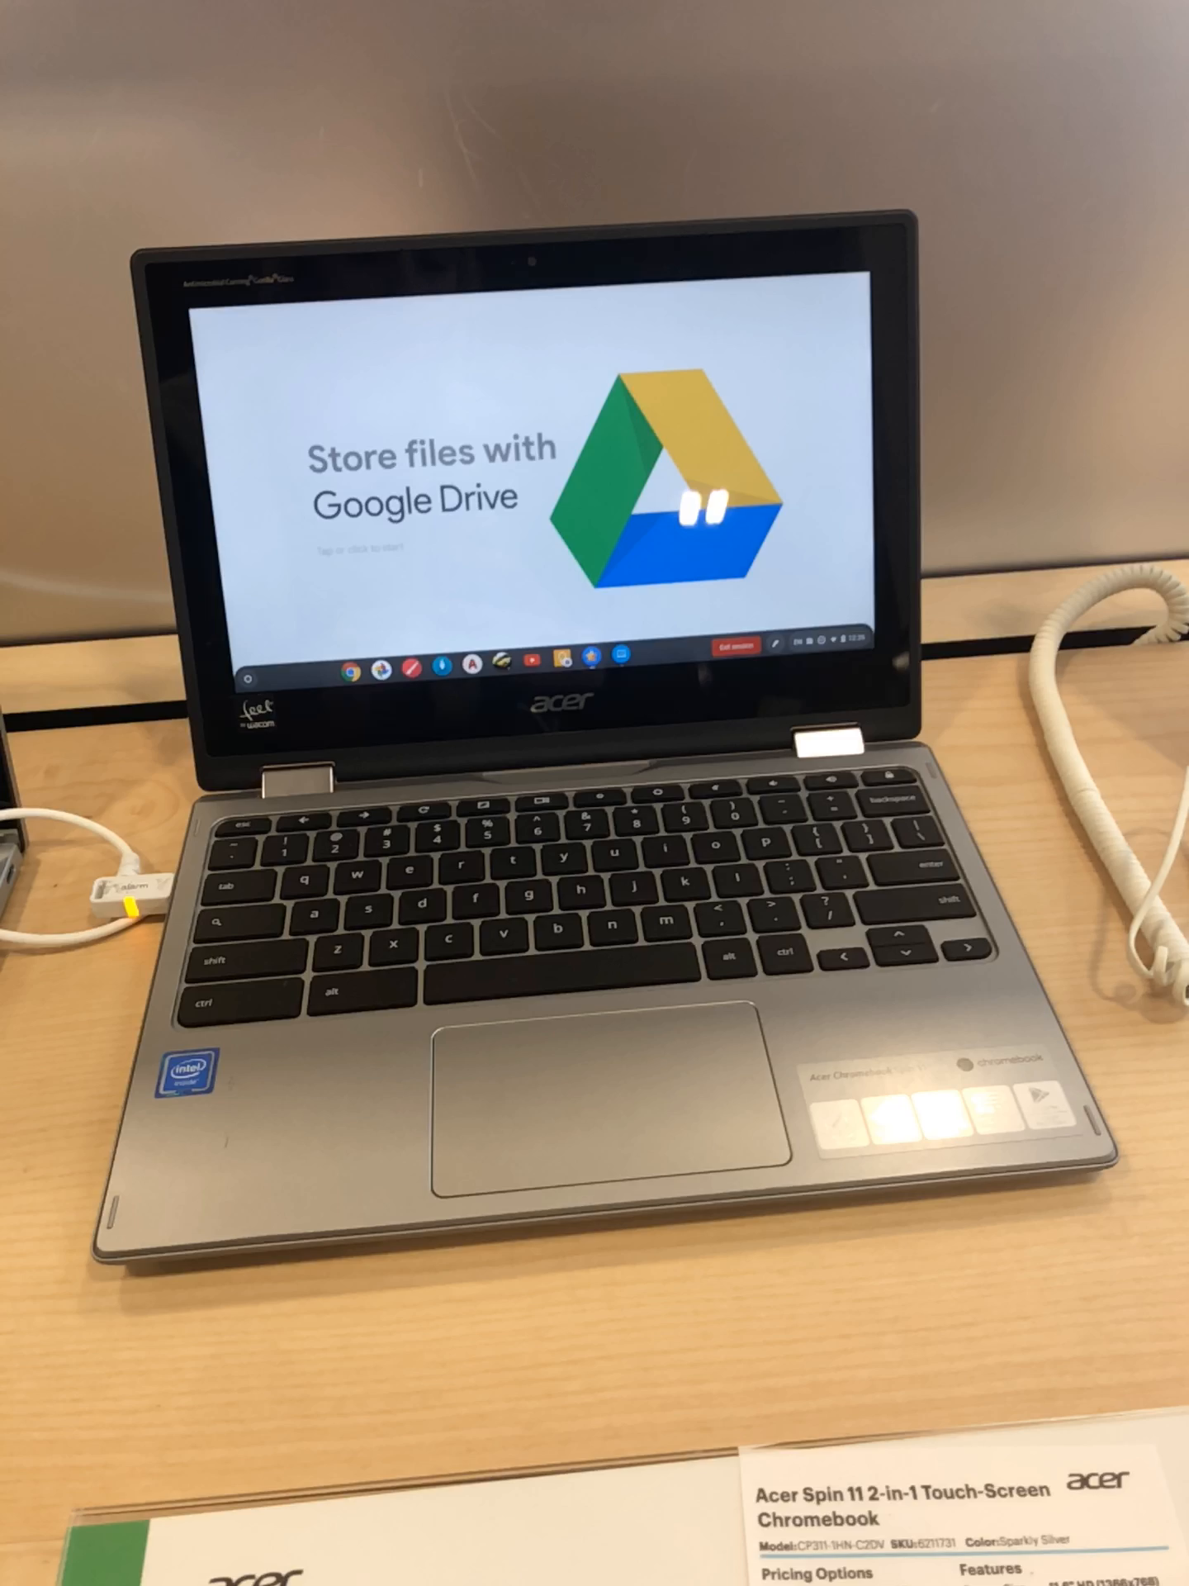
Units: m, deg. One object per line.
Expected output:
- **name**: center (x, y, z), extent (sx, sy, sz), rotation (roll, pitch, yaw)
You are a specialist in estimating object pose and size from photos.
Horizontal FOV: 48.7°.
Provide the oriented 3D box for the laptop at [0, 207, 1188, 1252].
- **laptop**: center (-0.009, -0.047, 0.431), extent (0.287, 0.176, 0.297), rotation (-5, 40, -3)
